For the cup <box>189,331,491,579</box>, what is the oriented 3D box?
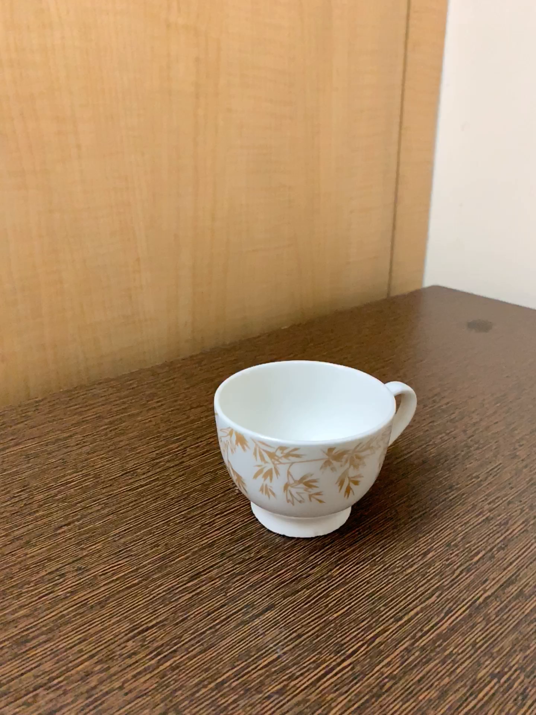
[{"bbox_3d":[0.029,0.033,0.247,0.100,0.050,0.080,-14,26,-30],"label":"cup"}]
